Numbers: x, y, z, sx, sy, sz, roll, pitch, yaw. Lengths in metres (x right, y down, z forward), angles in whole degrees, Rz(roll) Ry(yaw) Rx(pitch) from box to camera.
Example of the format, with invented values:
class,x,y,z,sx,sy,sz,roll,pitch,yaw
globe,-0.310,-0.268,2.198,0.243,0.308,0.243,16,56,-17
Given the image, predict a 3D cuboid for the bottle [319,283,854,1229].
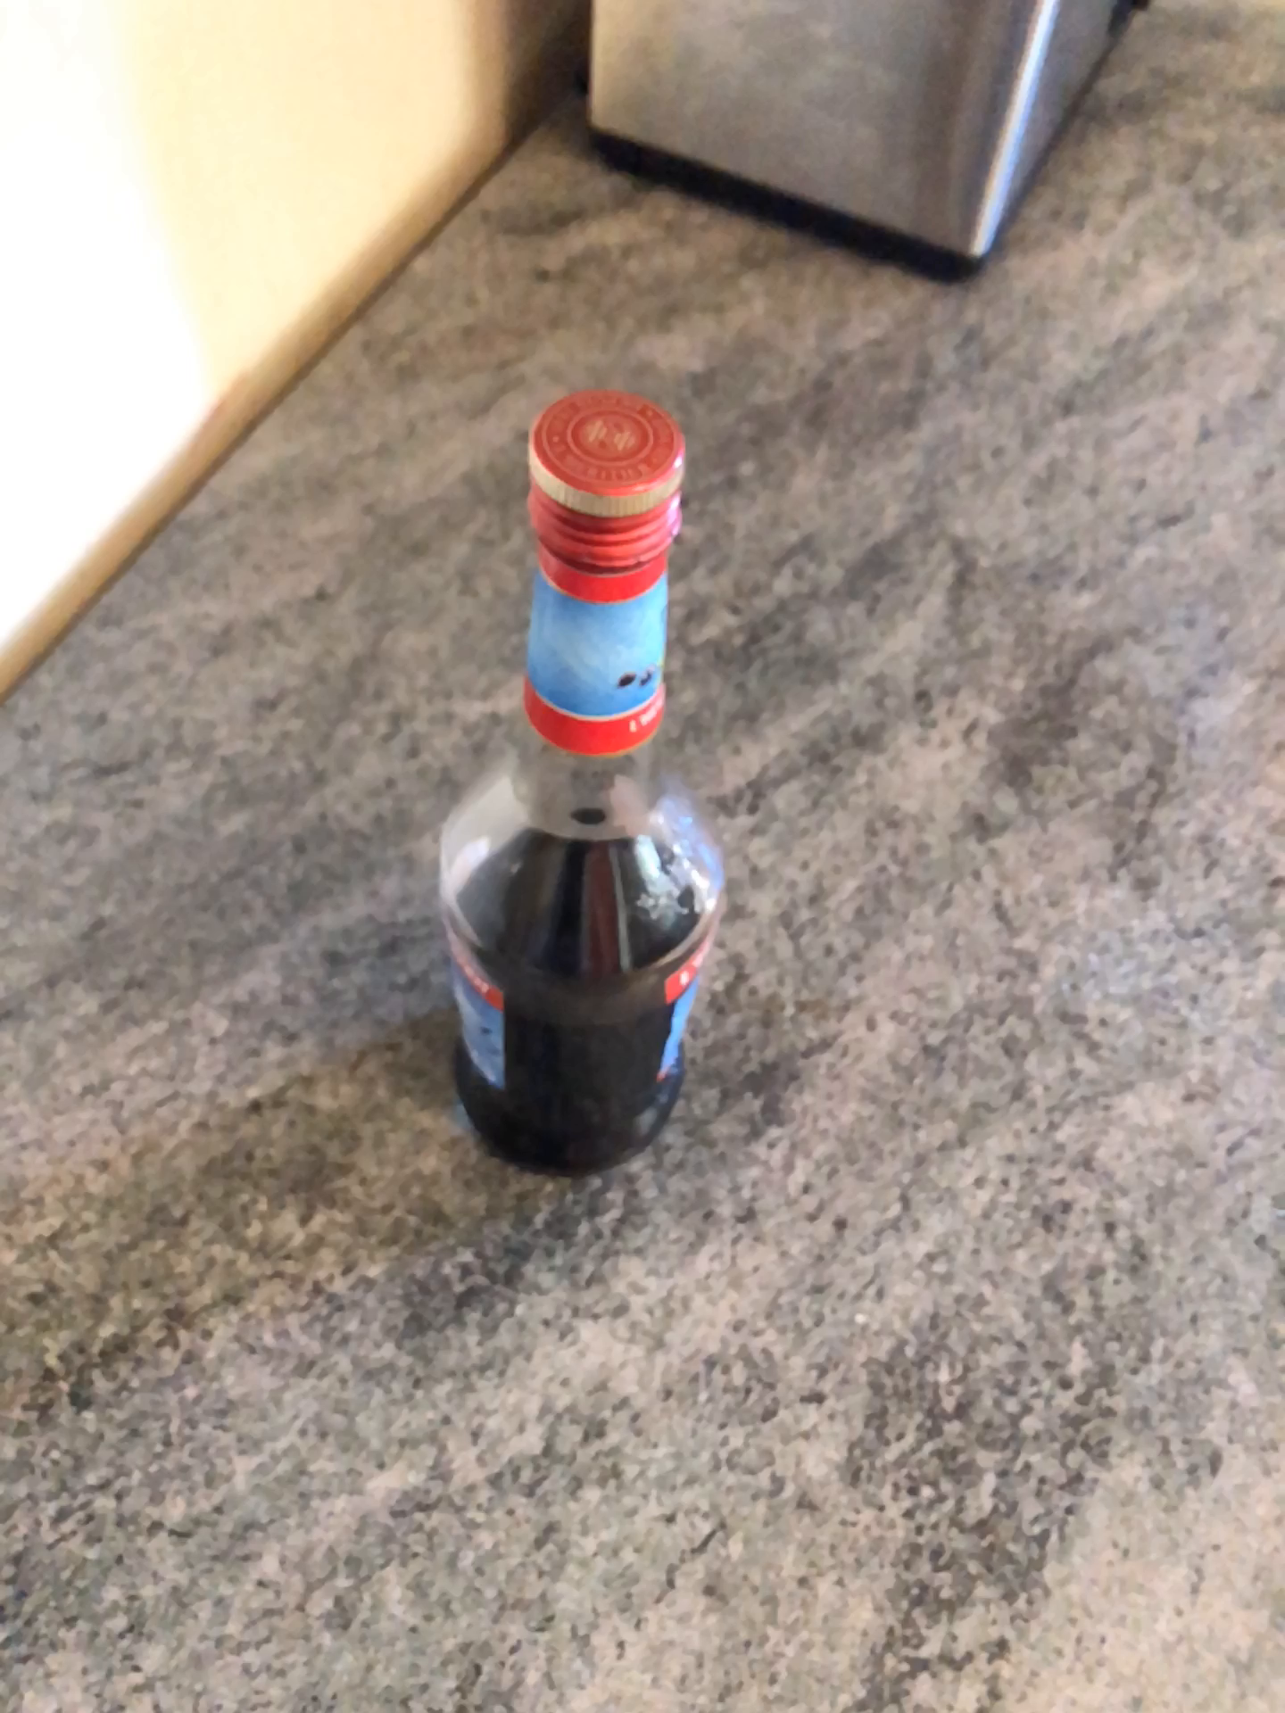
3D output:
class,x,y,z,sx,sy,sz,roll,pitch,yaw
bottle,-0.022,0.001,0.406,0.090,0.298,0.090,2,55,-3
